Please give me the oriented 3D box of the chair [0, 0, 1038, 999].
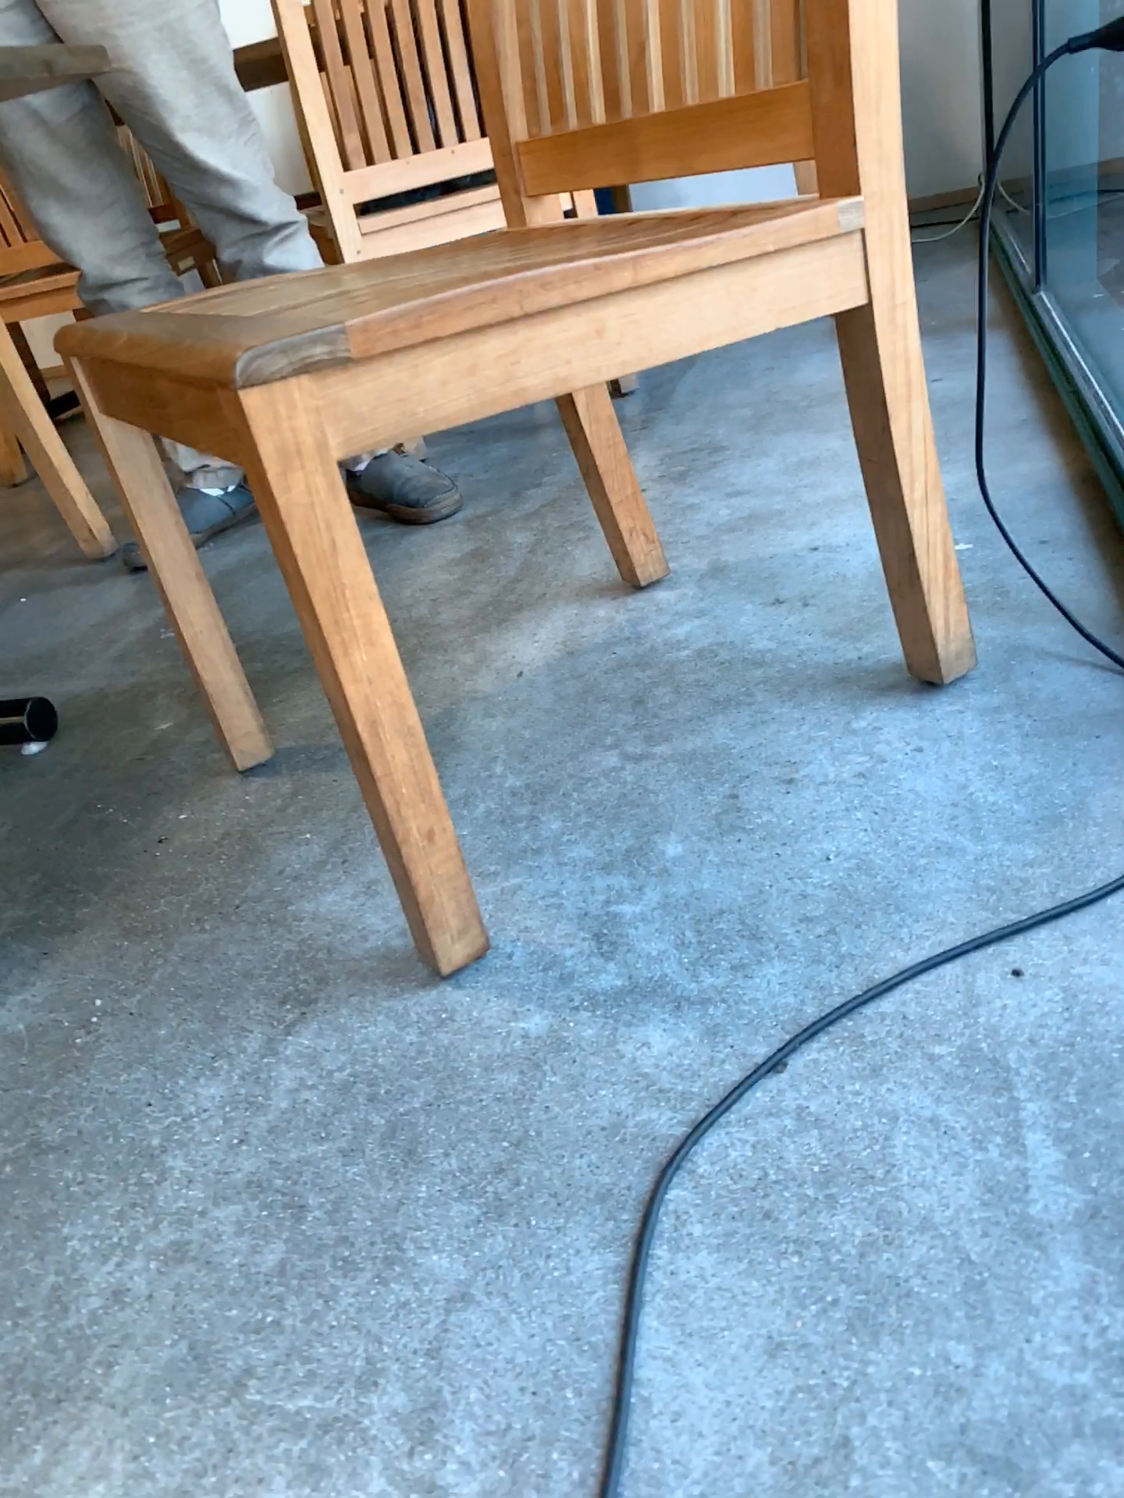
[{"bbox_3d":[-0.078,-0.440,0.861,0.610,0.914,0.533,-26,30,-23],"label":"chair"}]
